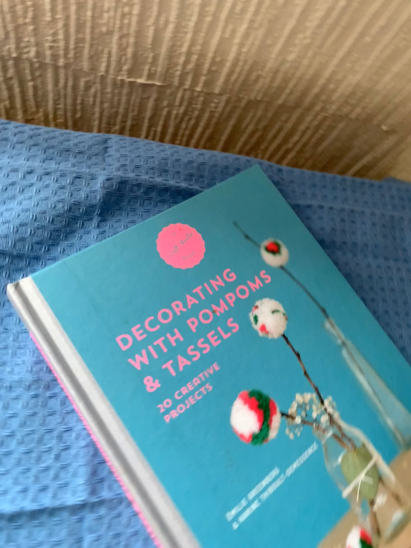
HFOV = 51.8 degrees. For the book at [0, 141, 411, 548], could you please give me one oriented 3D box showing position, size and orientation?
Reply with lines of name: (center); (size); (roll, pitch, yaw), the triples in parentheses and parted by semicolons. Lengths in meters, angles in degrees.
book: (0.022, 0.056, 0.244); (0.191, 0.020, 0.250); (-31, 81, -28)
